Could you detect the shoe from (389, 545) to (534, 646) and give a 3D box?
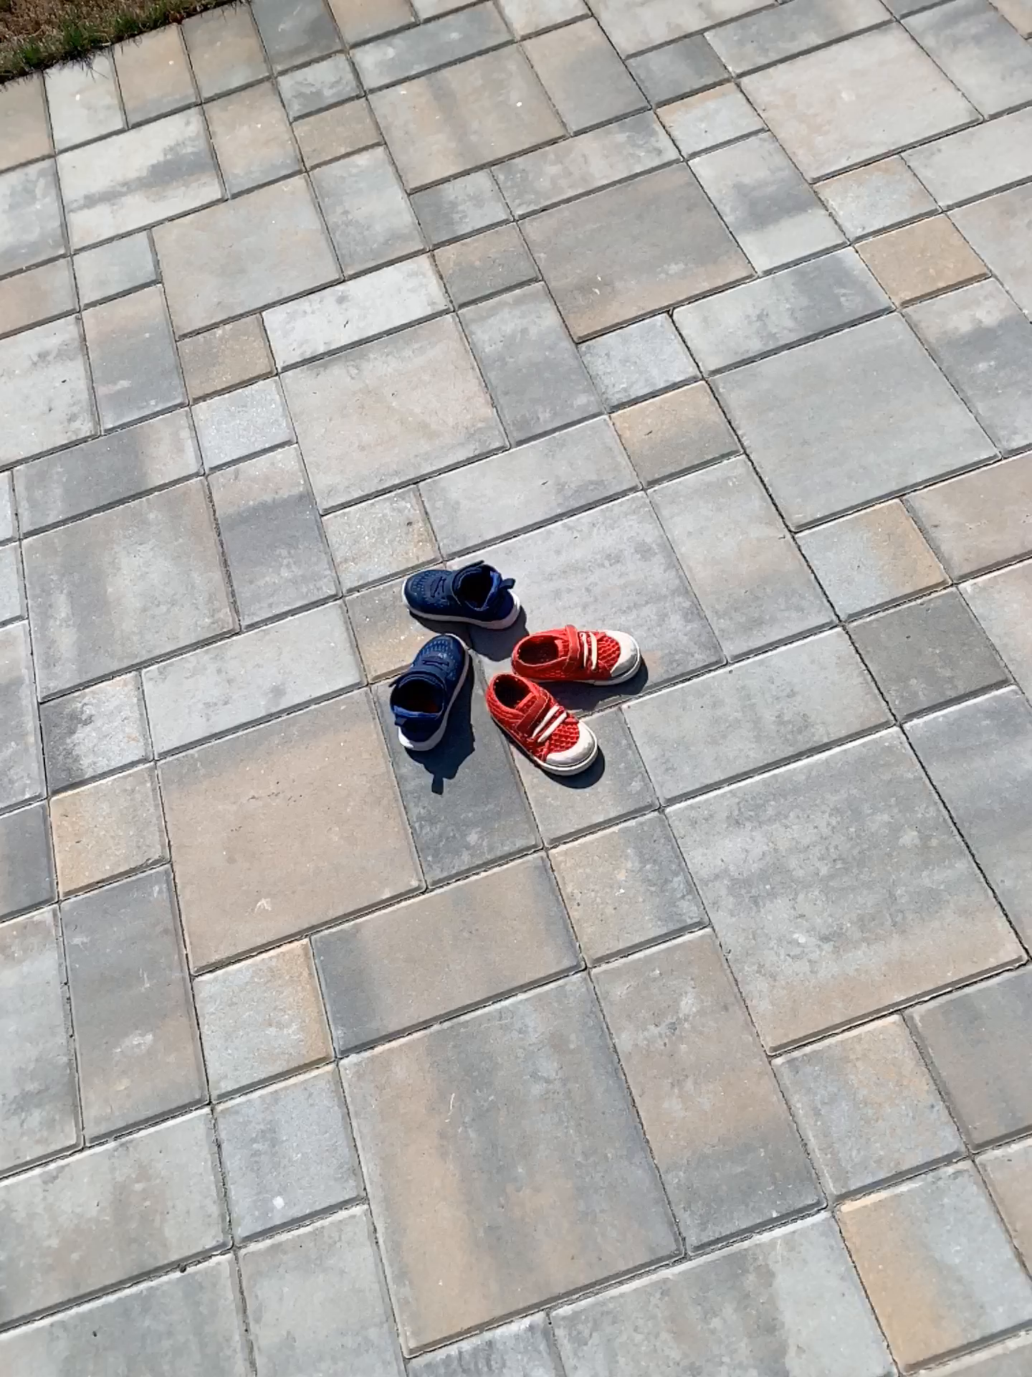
[{"bbox_3d":[-0.068,-0.119,1.353,0.160,0.070,0.080,11,66,14],"label":"shoe"}]

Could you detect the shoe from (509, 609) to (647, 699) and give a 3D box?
[{"bbox_3d":[0.077,-0.041,1.287,0.160,0.070,0.080,-2,64,8],"label":"shoe"}]

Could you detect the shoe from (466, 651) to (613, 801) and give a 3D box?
[{"bbox_3d":[0.028,0.045,1.269,0.080,0.070,0.160,-44,66,-13],"label":"shoe"}]

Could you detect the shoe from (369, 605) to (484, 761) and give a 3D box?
[{"bbox_3d":[-0.107,-0.007,1.288,0.080,0.080,0.160,11,66,14],"label":"shoe"}]
